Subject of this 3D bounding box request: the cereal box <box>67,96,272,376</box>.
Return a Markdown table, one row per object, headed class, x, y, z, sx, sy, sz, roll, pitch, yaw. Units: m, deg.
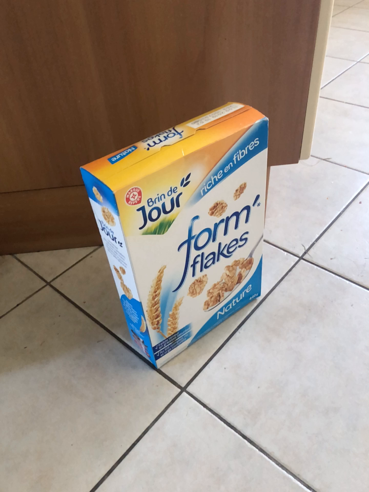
| class | x | y | z | sx | sy | sz | roll | pitch | yaw |
| --- | --- | --- | --- | --- | --- | --- | --- | --- | --- |
| cereal box | 0.004 | -0.003 | 0.488 | 0.201 | 0.279 | 0.070 | -31 | 46 | -25 |
